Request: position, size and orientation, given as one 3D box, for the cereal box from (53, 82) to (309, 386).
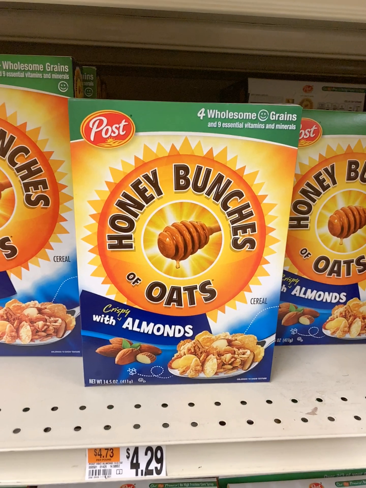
[{"bbox_3d":[-0.005,0.000,0.365,0.200,0.279,0.060,0,18,-4],"label":"cereal box"}]
